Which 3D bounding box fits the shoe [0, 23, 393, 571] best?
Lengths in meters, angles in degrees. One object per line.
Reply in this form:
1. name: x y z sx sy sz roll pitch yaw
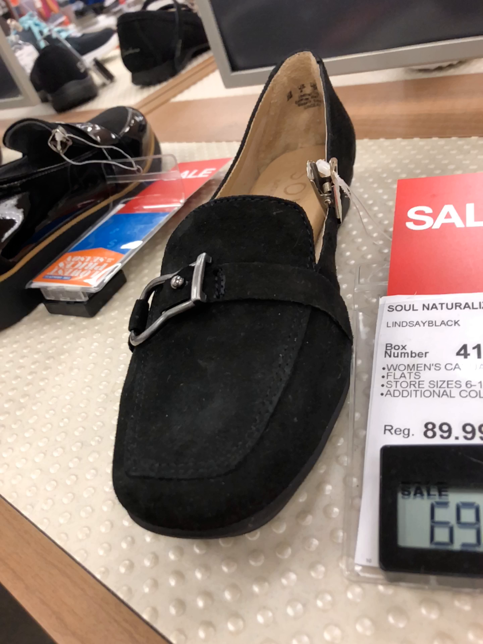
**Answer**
1. shoe: 0.006 -0.038 0.224 0.080 0.079 0.239 -4 39 24
